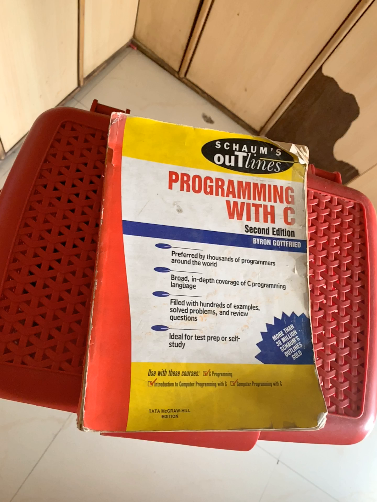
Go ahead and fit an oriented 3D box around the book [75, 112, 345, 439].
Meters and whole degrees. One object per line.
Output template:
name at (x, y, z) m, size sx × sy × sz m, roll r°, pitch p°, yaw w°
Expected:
book at (0.021, 0.020, 0.336) m, size 0.200 × 0.050 × 0.251 m, roll 6°, pitch 72°, yaw -13°
